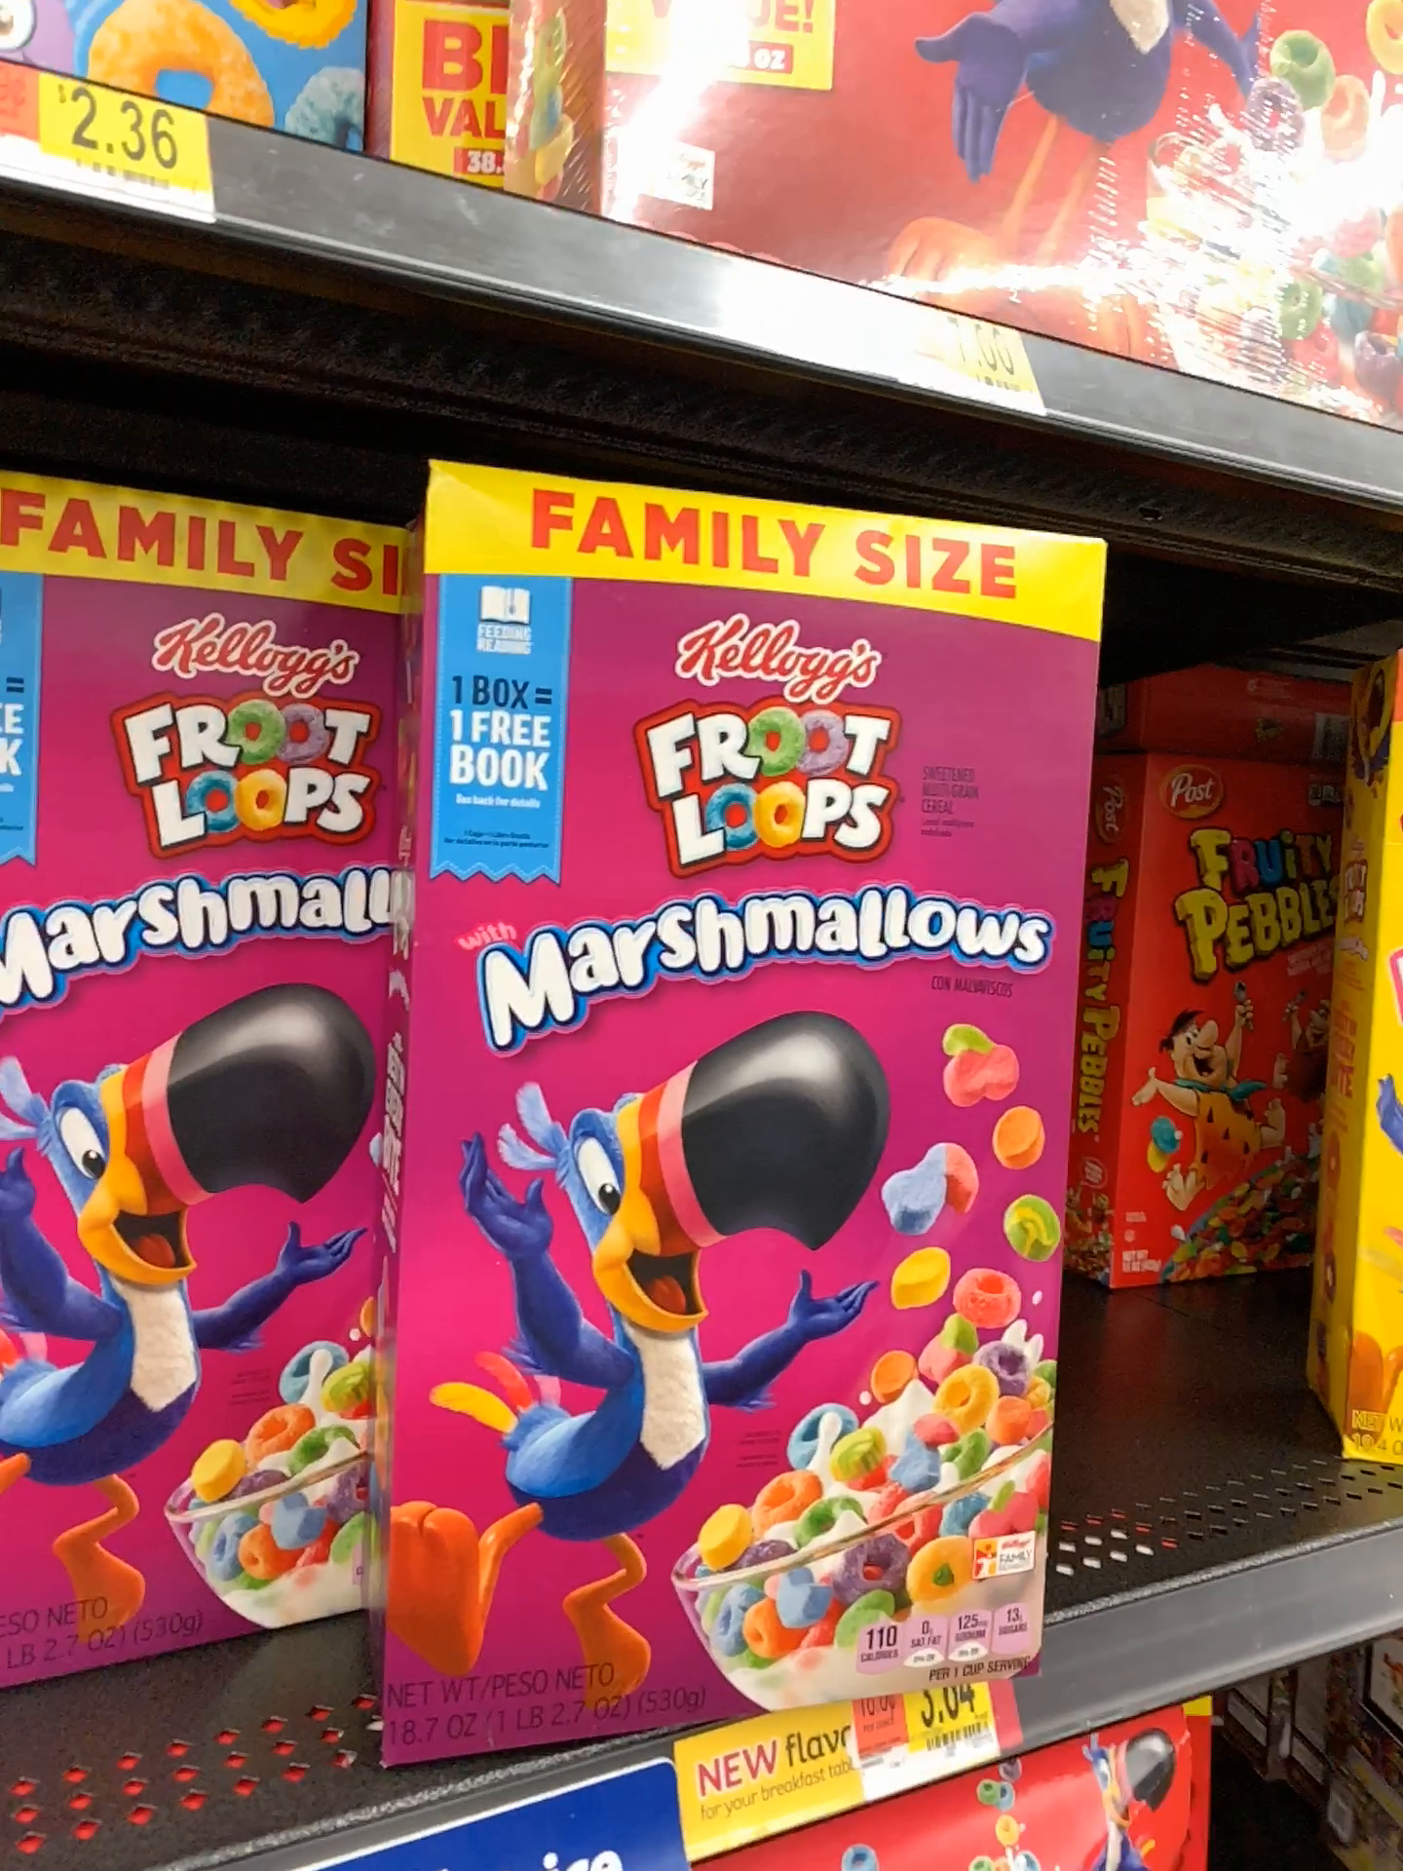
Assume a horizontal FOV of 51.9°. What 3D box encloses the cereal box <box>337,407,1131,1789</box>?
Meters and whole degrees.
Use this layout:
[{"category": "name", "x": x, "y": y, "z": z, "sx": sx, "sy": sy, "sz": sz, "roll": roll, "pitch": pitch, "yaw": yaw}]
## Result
[{"category": "cereal box", "x": 0.005, "y": 0.043, "z": 0.419, "sx": 0.200, "sy": 0.340, "sz": 0.080, "roll": 2, "pitch": 3, "yaw": -17}]
